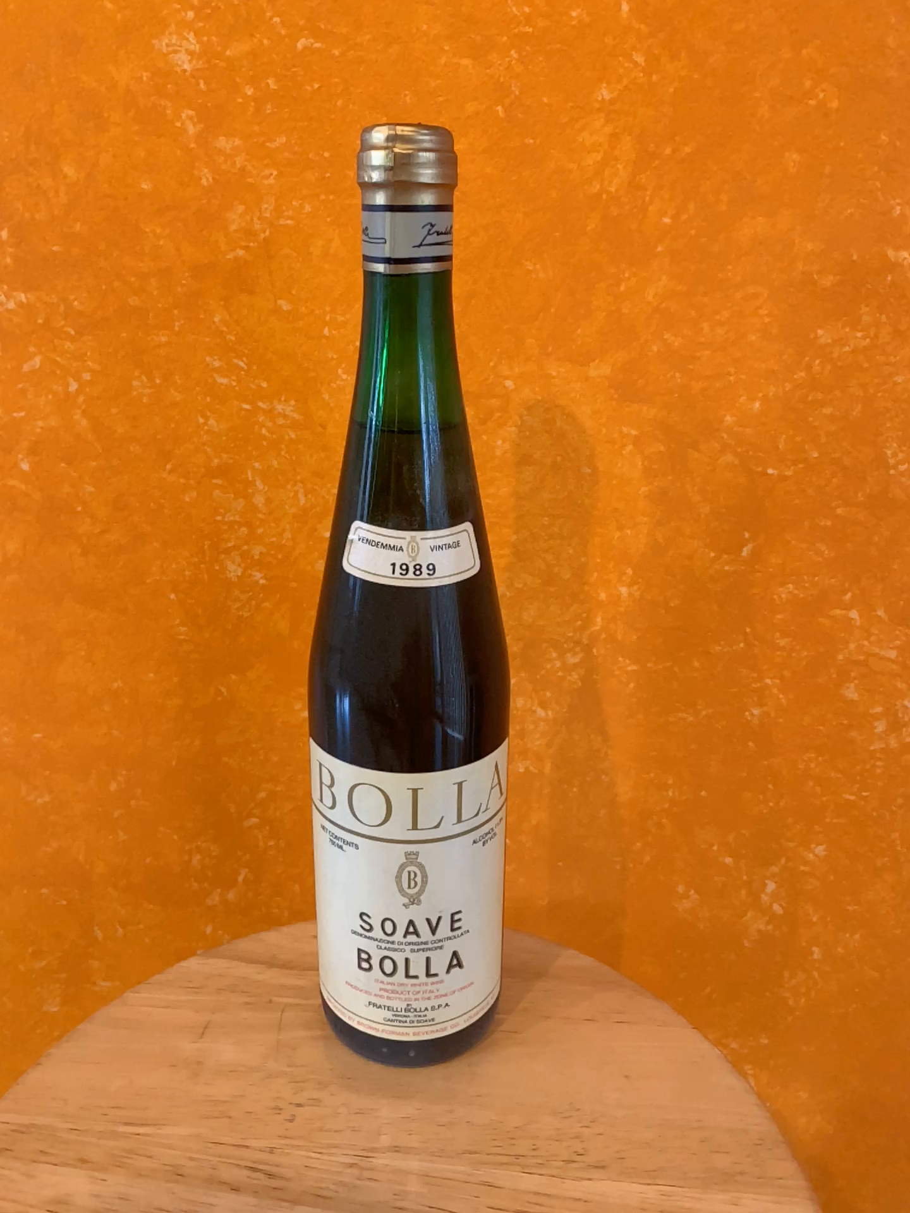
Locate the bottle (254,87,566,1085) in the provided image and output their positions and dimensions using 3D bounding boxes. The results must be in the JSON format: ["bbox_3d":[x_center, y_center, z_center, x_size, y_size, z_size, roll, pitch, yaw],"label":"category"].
[{"bbox_3d":[-0.015,0.013,0.335,0.080,0.338,0.070,1,21,-1],"label":"bottle"}]
